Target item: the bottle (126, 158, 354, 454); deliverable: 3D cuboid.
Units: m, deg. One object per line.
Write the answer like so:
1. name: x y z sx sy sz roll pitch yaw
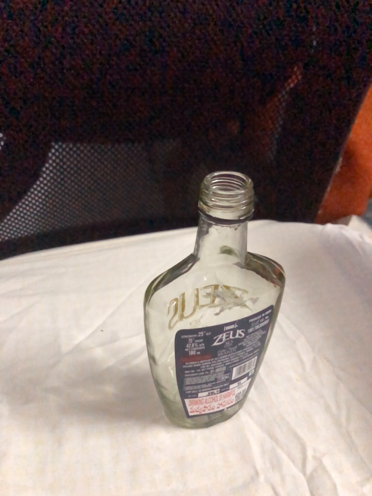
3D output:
1. bottle: 0.018 0.038 0.235 0.090 0.159 0.050 -10 40 -20
